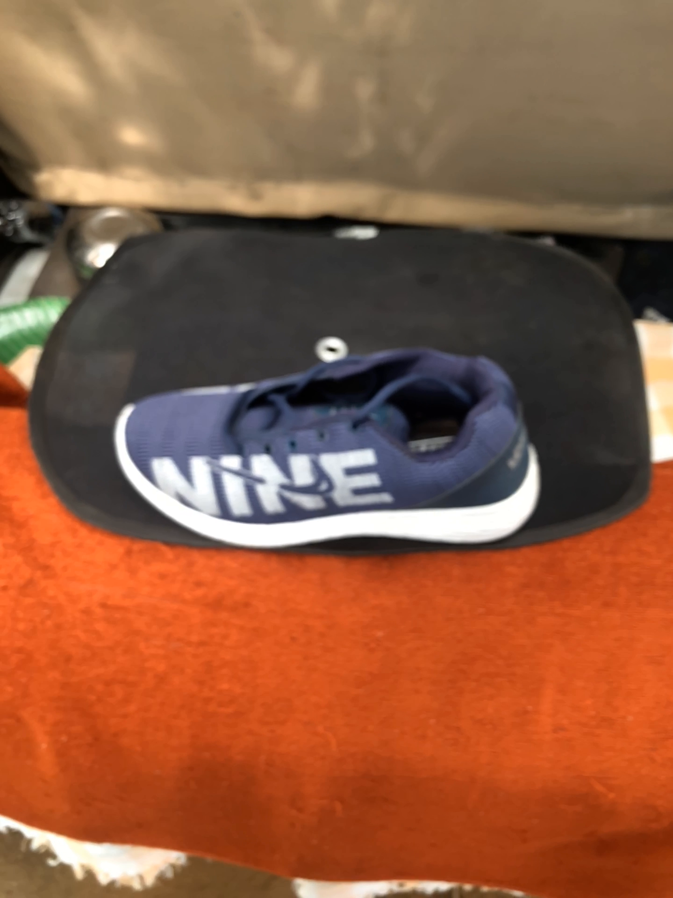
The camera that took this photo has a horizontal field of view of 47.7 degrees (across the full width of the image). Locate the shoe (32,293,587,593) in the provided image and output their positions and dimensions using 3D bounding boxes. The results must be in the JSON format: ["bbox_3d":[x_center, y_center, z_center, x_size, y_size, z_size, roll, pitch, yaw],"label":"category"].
[{"bbox_3d":[-0.008,-0.008,0.469,0.290,0.100,0.131,4,53,8],"label":"shoe"}]
